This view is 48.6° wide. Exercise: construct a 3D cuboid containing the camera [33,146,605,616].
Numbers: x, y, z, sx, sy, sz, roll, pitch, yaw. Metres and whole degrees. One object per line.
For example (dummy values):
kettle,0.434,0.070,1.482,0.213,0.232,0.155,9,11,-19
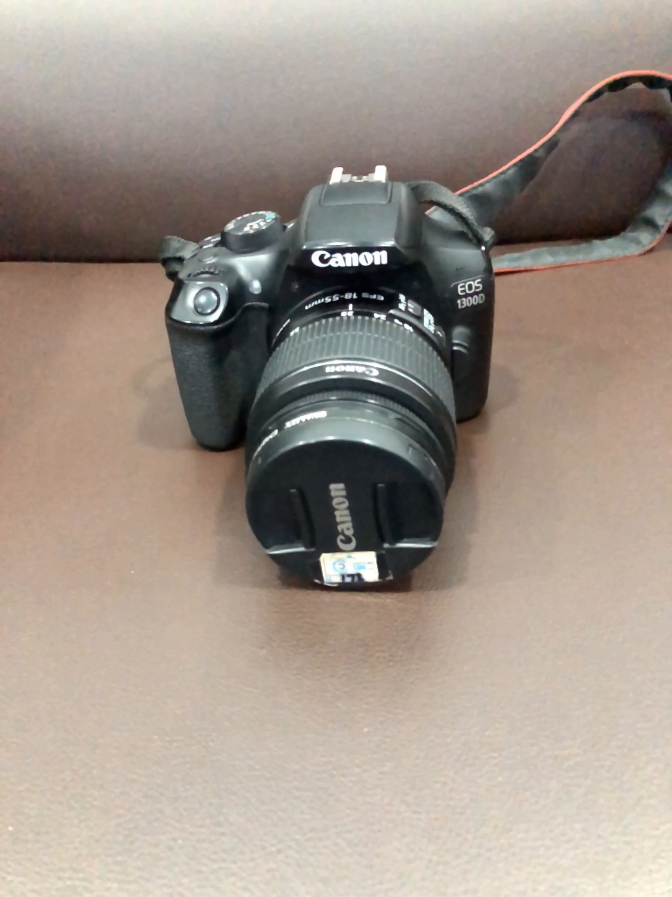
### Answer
camera,0.002,-0.038,0.263,0.130,0.089,0.171,0,35,5
